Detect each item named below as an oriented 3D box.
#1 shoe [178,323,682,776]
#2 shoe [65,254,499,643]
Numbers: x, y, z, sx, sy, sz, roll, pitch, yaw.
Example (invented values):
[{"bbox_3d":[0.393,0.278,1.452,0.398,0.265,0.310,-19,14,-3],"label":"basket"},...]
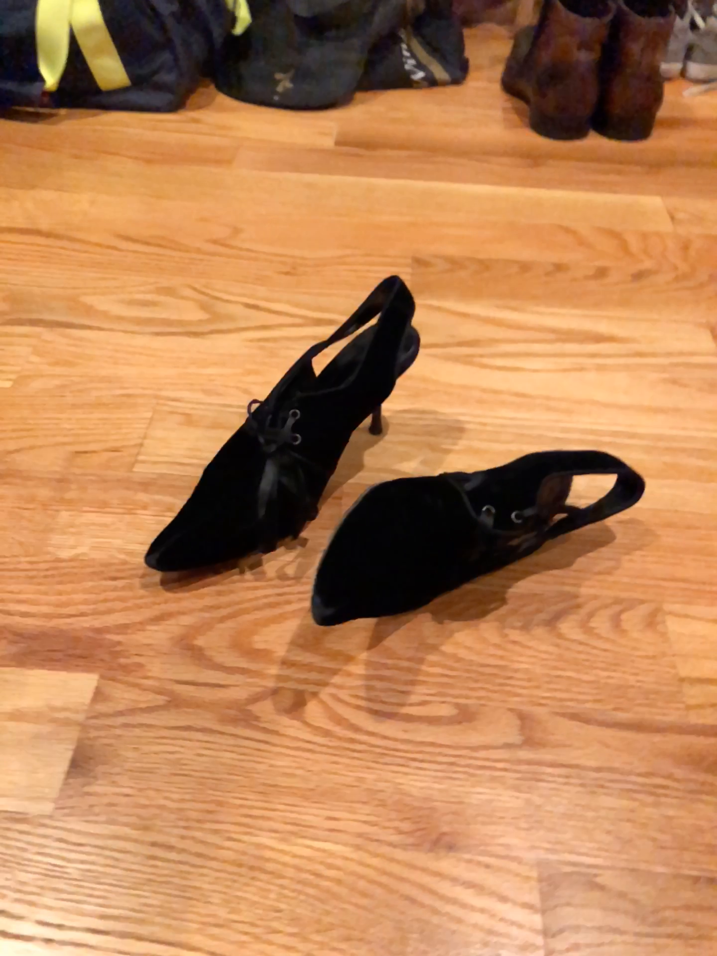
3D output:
[{"bbox_3d":[0.045,0.026,0.454,0.253,0.107,0.118,-29,52,-28],"label":"shoe"},{"bbox_3d":[-0.038,-0.032,0.521,0.253,0.117,0.107,-34,55,-31],"label":"shoe"}]
